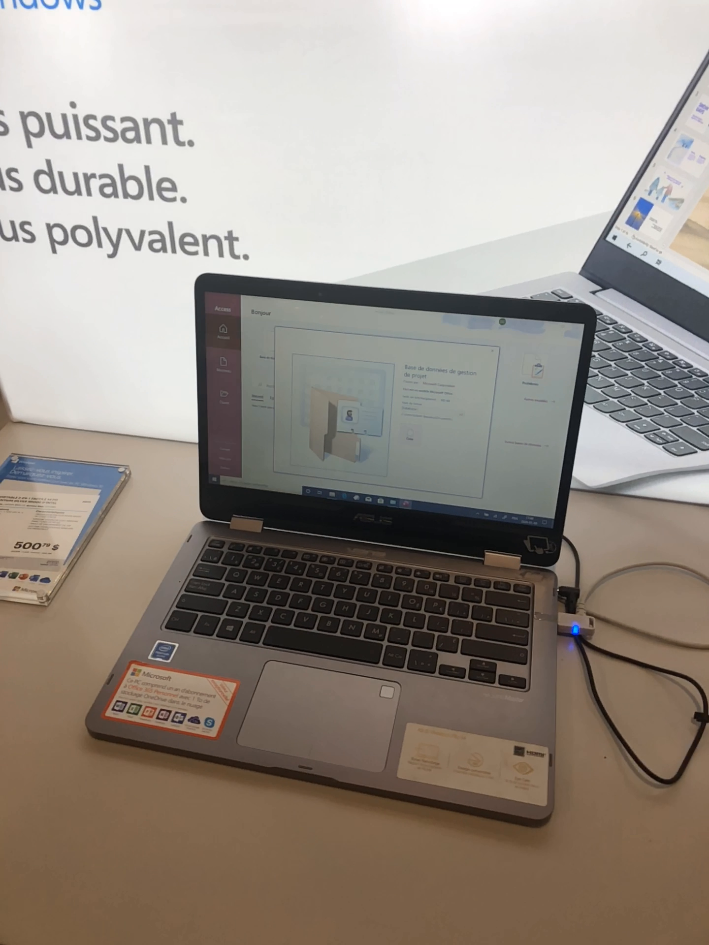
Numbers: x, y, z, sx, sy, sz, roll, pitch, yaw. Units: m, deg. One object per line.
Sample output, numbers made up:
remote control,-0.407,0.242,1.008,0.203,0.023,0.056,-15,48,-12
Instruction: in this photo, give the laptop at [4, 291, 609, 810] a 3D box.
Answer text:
laptop,-0.004,0.033,0.562,0.311,0.214,0.273,7,37,10
